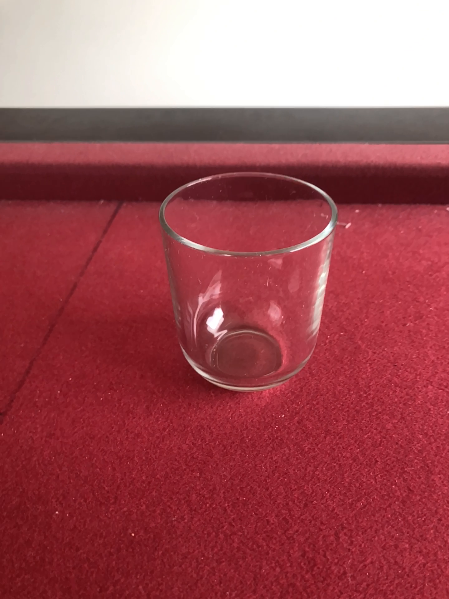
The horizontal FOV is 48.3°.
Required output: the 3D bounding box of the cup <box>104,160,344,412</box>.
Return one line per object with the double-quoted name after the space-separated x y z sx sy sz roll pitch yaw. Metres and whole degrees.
0.006 -0.011 0.222 0.080 0.070 0.081 -1 36 1 "cup"
